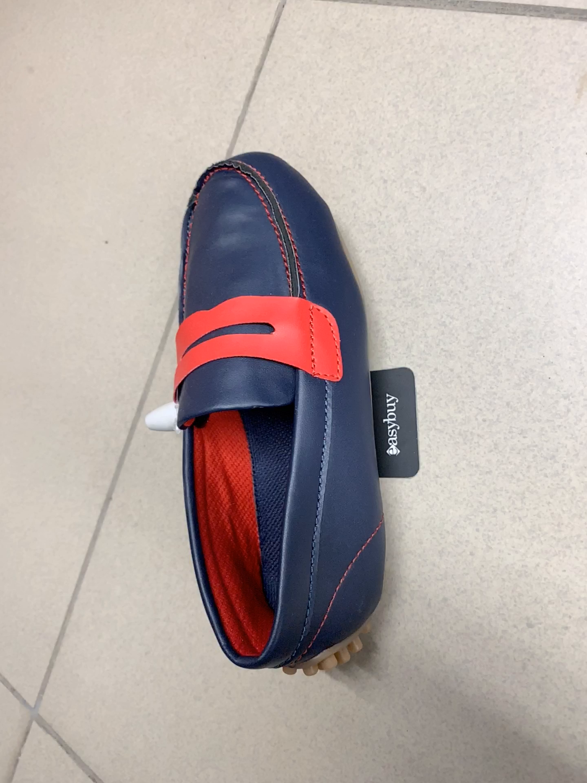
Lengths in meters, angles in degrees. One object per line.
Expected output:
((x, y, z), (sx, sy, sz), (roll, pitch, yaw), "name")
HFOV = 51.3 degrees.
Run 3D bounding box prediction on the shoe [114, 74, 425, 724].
((-0.012, 0.003, 0.226), (0.080, 0.050, 0.200), (-11, 80, 29), "shoe")
